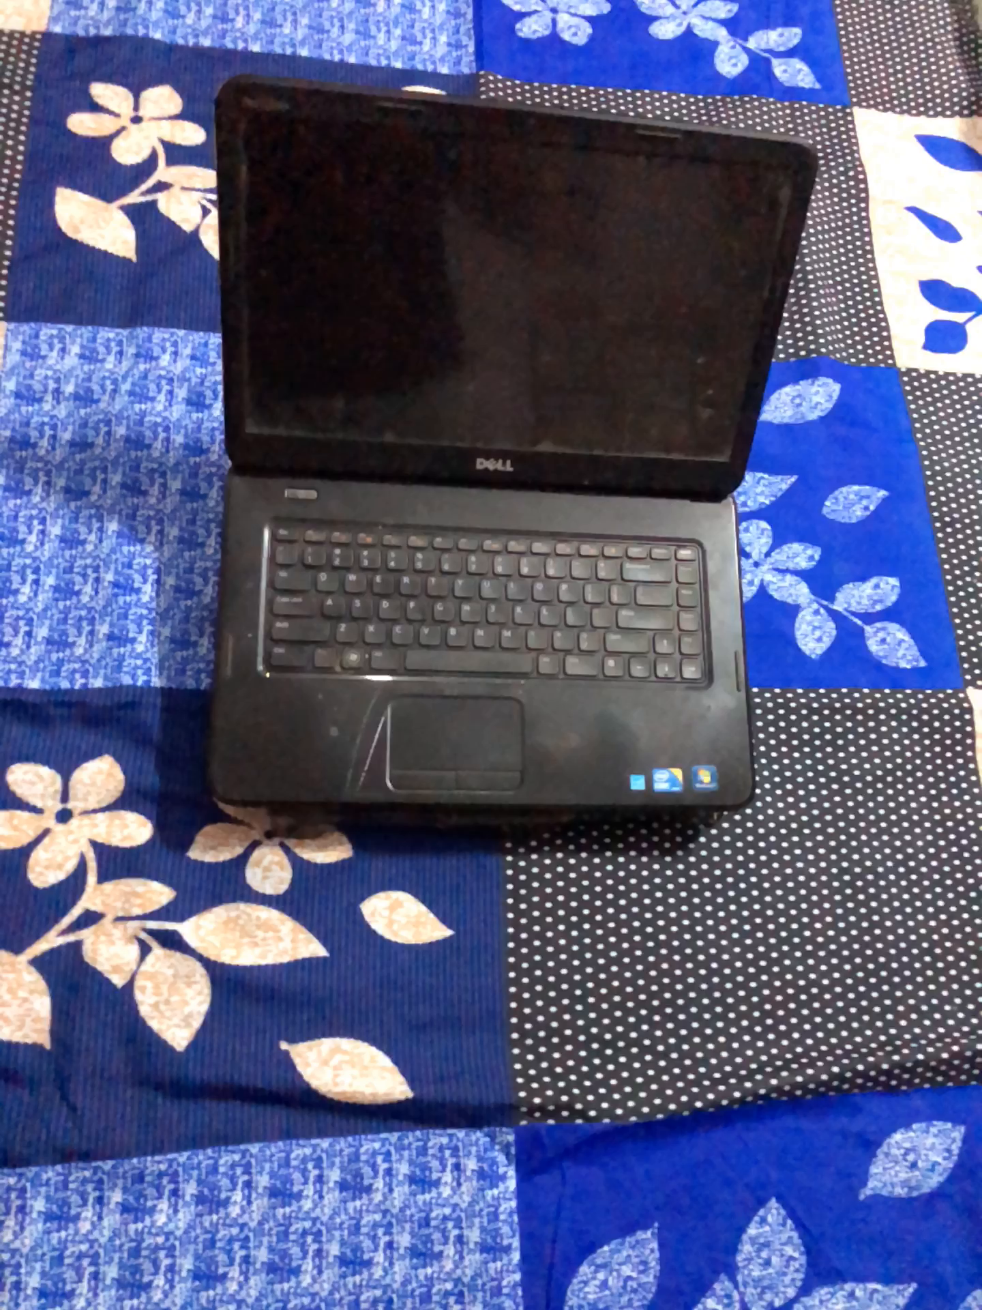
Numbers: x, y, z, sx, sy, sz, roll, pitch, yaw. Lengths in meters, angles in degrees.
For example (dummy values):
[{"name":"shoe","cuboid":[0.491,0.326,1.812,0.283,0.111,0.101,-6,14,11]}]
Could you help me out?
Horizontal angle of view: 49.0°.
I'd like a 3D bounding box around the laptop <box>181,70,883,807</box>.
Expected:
[{"name":"laptop","cuboid":[0.015,-0.120,0.690,0.363,0.187,0.389,1,72,-10]}]
